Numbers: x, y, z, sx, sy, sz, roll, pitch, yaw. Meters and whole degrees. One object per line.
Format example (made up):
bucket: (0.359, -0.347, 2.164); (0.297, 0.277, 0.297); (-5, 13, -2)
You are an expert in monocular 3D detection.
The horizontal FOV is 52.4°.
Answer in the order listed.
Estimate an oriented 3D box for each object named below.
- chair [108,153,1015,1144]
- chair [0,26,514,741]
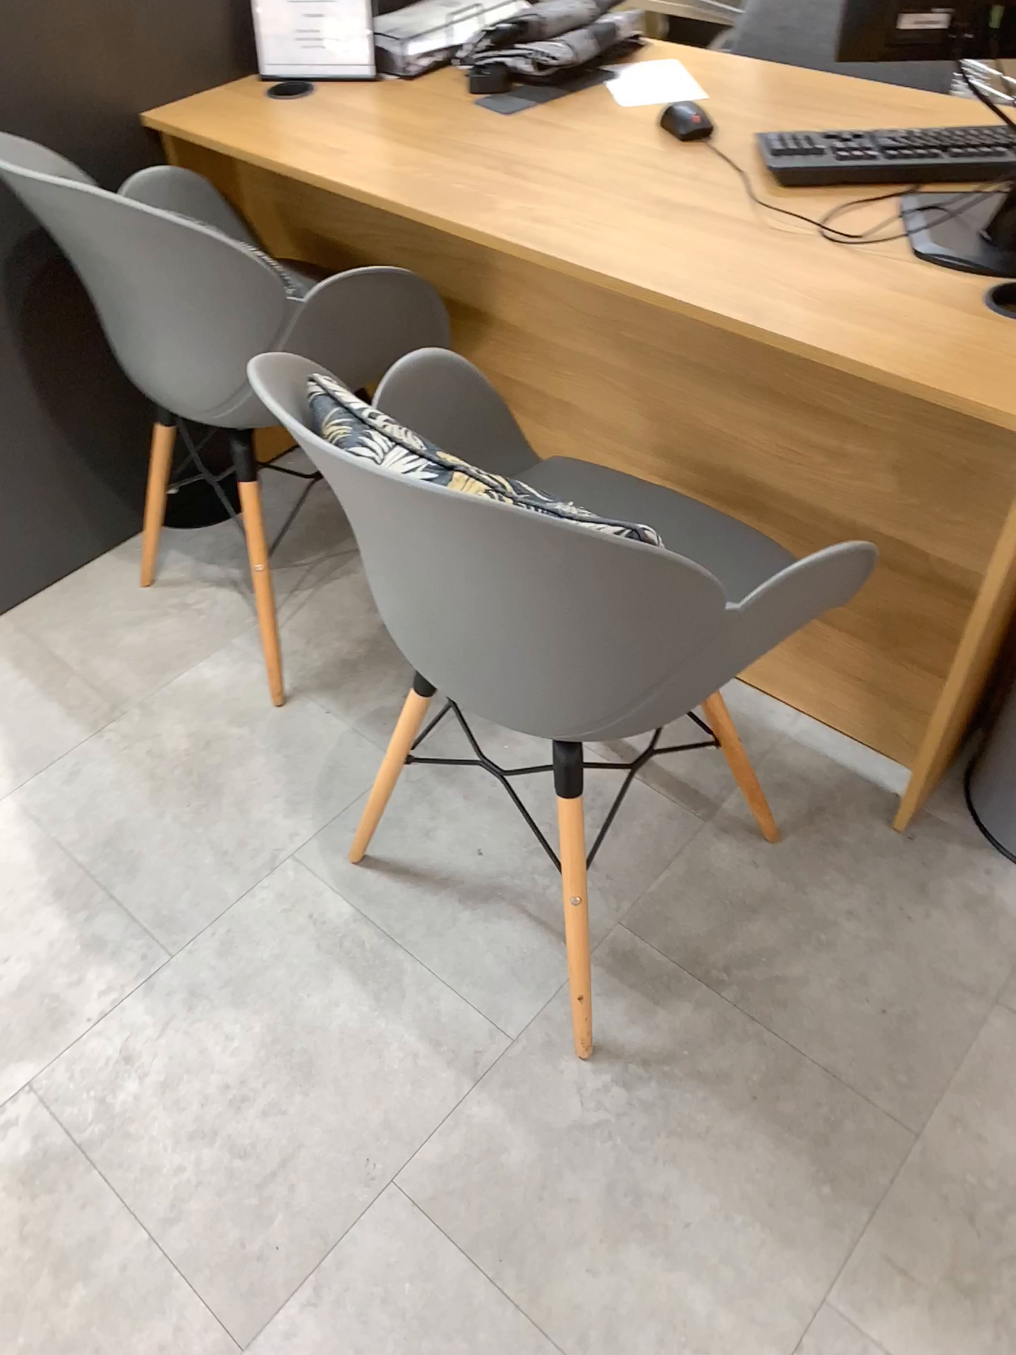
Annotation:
chair: (0.067, -0.030, 1.193); (0.600, 0.808, 0.549); (33, 56, 30)
chair: (-0.409, -0.467, 1.654); (0.590, 0.808, 0.549); (33, 56, 30)
